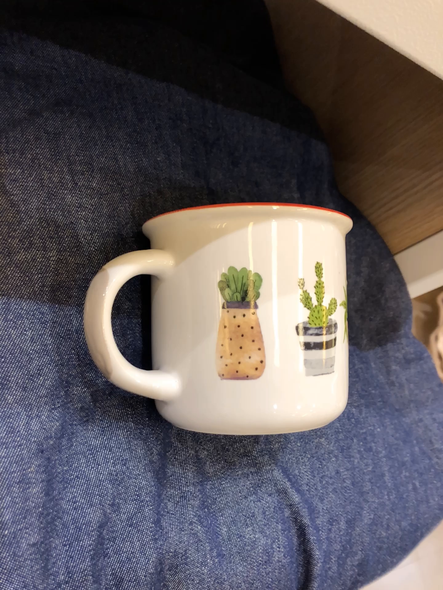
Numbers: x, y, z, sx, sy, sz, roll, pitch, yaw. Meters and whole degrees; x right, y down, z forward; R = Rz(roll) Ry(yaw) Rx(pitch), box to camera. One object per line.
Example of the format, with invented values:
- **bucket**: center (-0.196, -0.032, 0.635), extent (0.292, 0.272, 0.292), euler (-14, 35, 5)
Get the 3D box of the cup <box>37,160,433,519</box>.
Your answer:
- **cup**: center (0.007, 0.018, 0.216), extent (0.141, 0.089, 0.100), euler (1, 81, -38)
